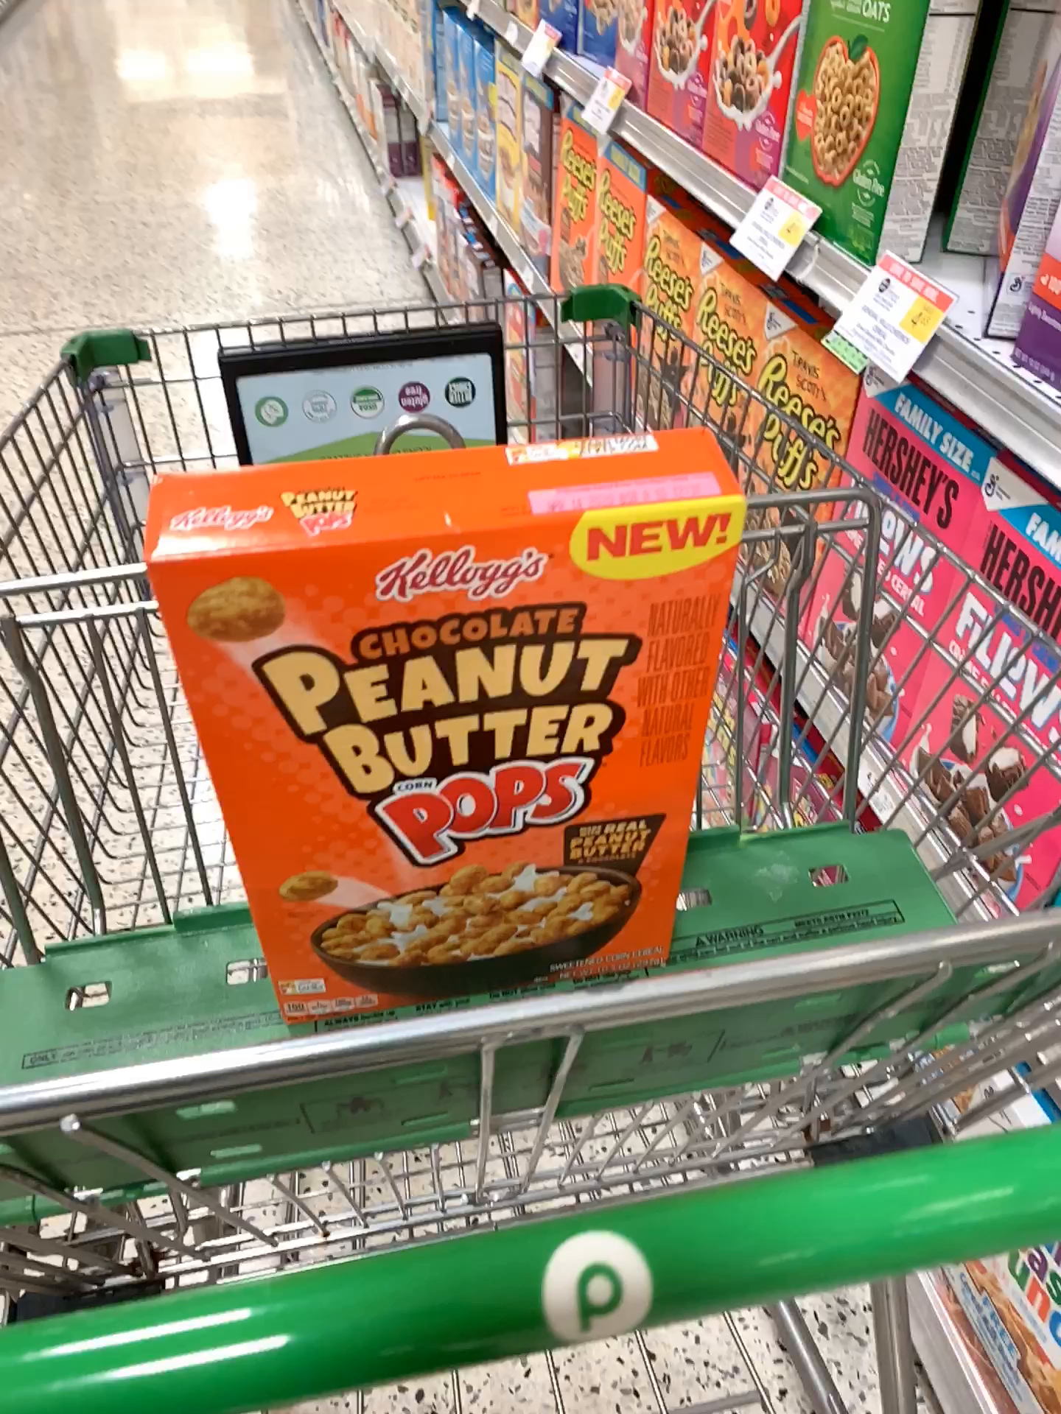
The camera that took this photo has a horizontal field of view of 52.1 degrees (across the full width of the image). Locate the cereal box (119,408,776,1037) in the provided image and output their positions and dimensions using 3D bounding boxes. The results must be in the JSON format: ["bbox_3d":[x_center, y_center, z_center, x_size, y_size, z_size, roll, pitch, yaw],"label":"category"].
[{"bbox_3d":[-0.027,0.027,0.448,0.200,0.287,0.051,-7,46,-8],"label":"cereal box"}]
